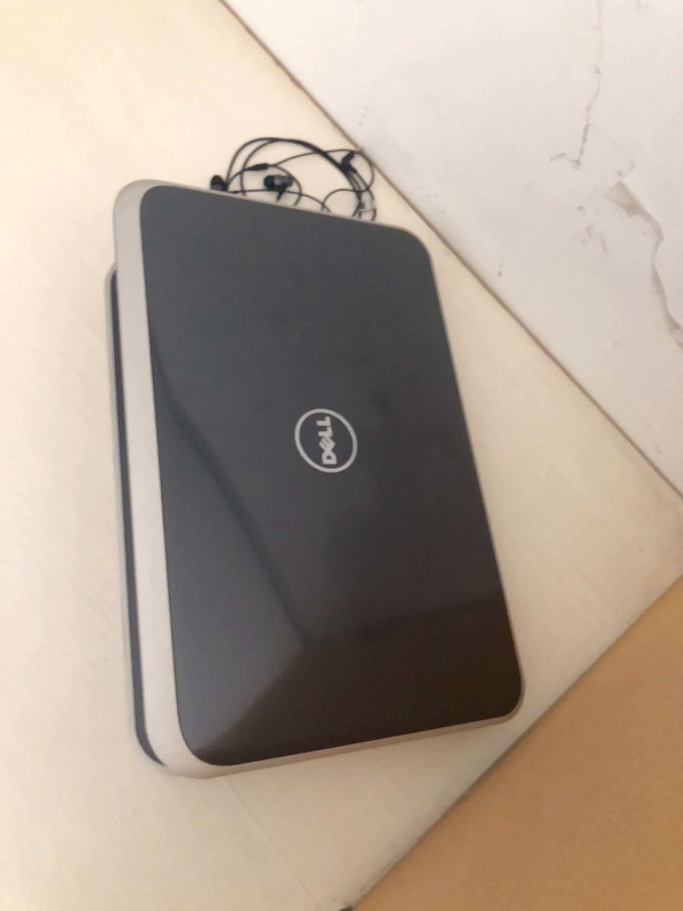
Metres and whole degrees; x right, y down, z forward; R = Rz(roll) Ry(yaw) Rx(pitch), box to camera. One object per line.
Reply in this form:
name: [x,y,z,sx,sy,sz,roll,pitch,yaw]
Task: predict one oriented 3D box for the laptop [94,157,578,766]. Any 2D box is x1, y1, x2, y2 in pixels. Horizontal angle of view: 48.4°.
laptop: [-0.020,-0.012,0.488,0.238,0.094,0.357,-4,71,-13]
